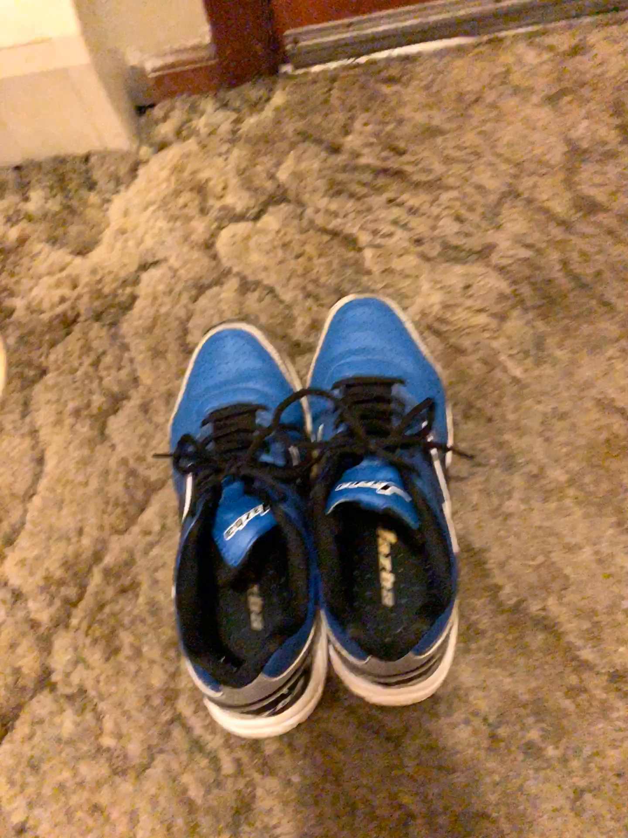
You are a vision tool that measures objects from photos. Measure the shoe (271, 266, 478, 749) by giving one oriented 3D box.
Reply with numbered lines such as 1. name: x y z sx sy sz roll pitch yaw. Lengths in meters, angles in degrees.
1. shoe: 0.032 0.055 0.429 0.100 0.119 0.281 -4 67 5

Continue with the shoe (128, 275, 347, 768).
1. shoe: -0.049 0.061 0.419 0.100 0.119 0.271 -8 67 3
